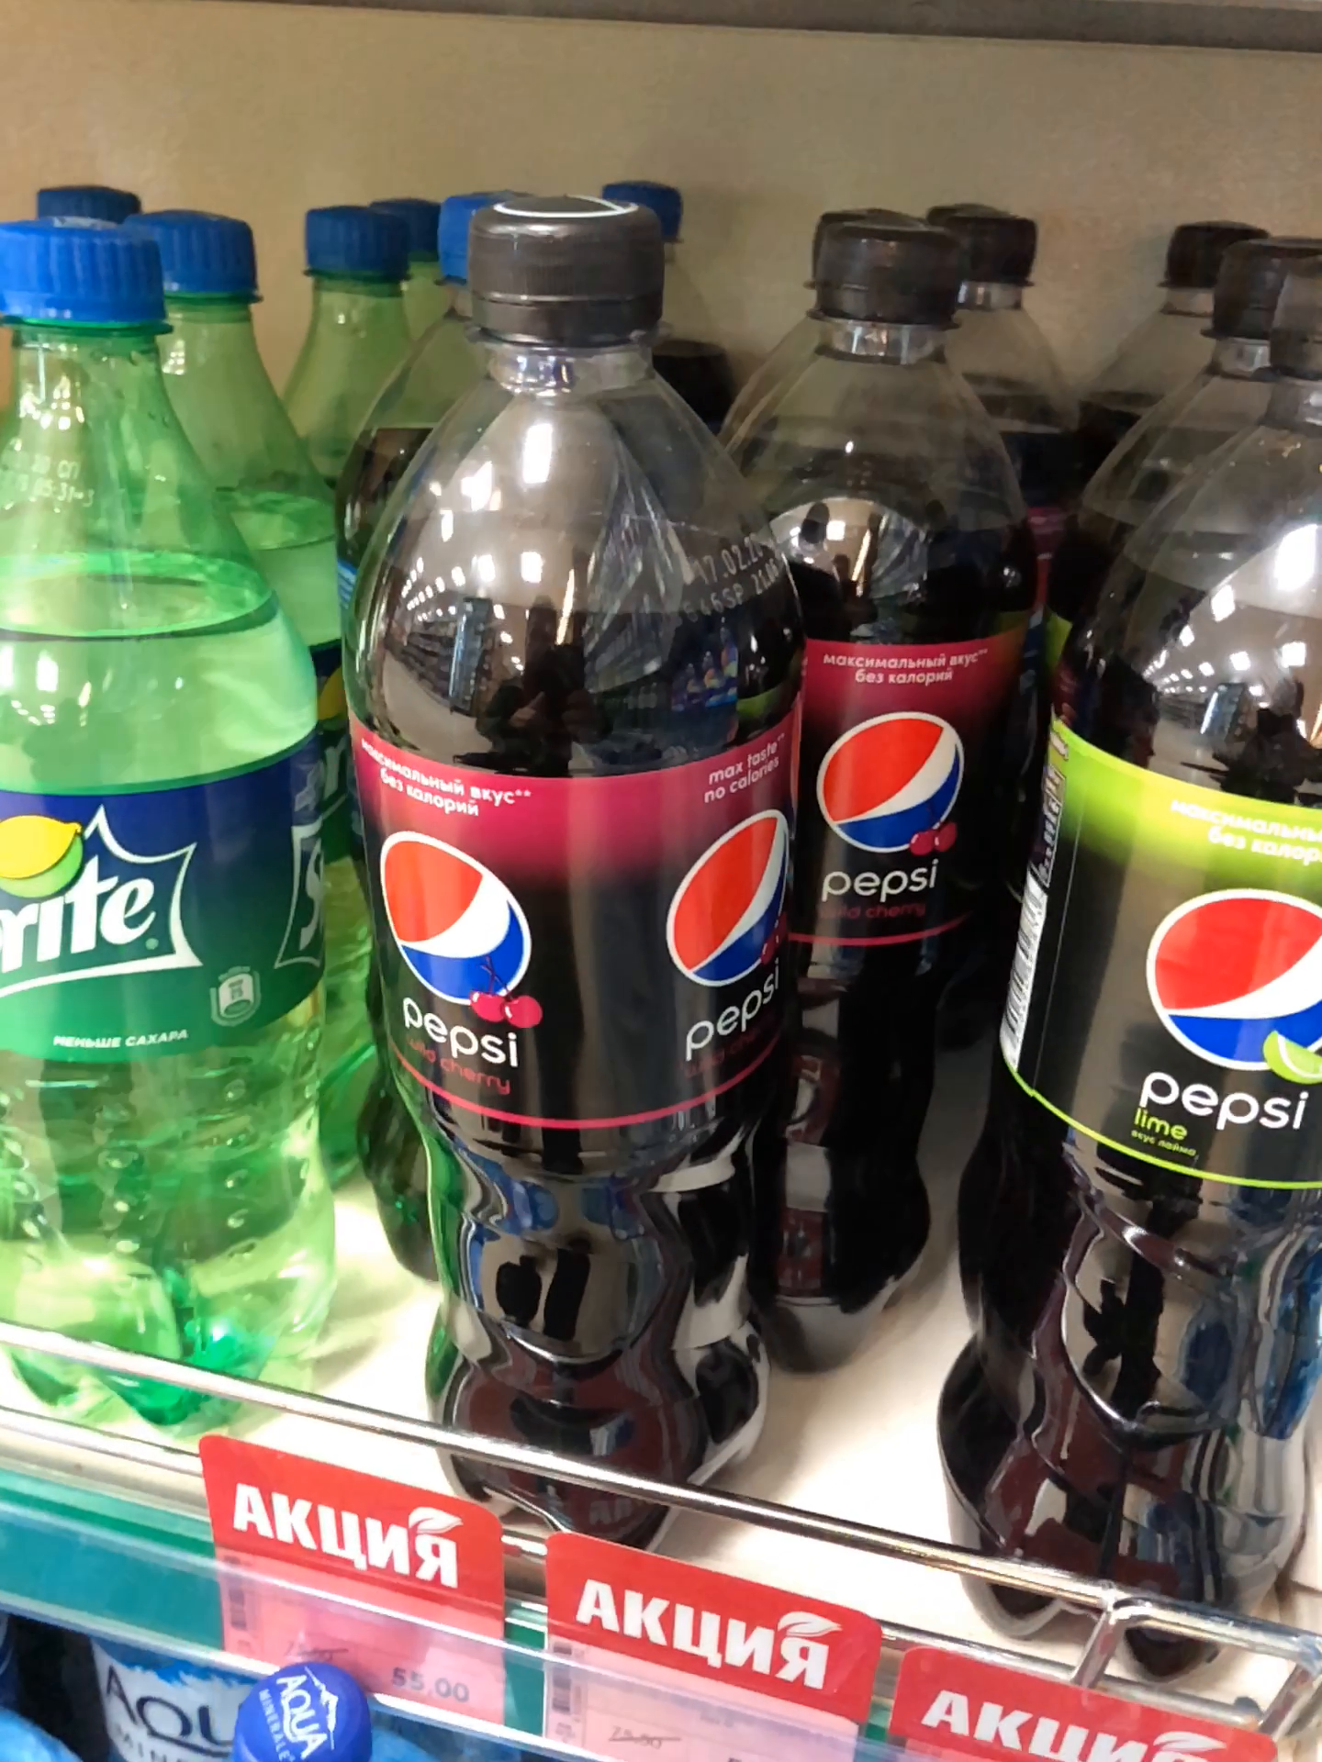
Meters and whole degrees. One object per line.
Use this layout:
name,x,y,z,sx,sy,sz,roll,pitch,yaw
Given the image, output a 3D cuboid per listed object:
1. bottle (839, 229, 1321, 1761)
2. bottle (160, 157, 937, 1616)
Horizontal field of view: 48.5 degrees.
bottle,0.102,0.027,0.272,0.086,0.263,0.077,16,28,22
bottle,-0.016,0.010,0.278,0.086,0.256,0.077,16,33,22
